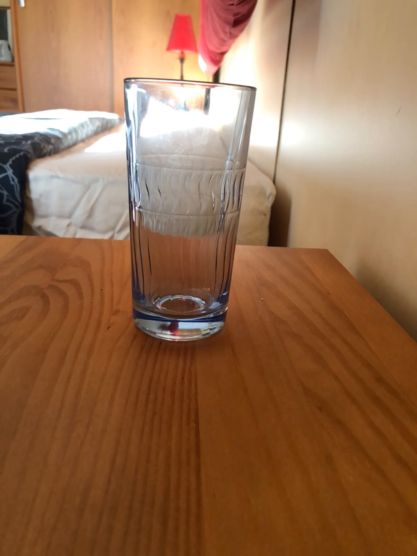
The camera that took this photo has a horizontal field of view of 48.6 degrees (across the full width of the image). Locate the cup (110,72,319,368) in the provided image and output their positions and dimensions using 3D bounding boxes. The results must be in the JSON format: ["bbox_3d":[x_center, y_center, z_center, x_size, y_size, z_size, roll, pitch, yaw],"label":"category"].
[{"bbox_3d":[-0.004,-0.034,0.244,0.076,0.129,0.070,4,20,-1],"label":"cup"}]
